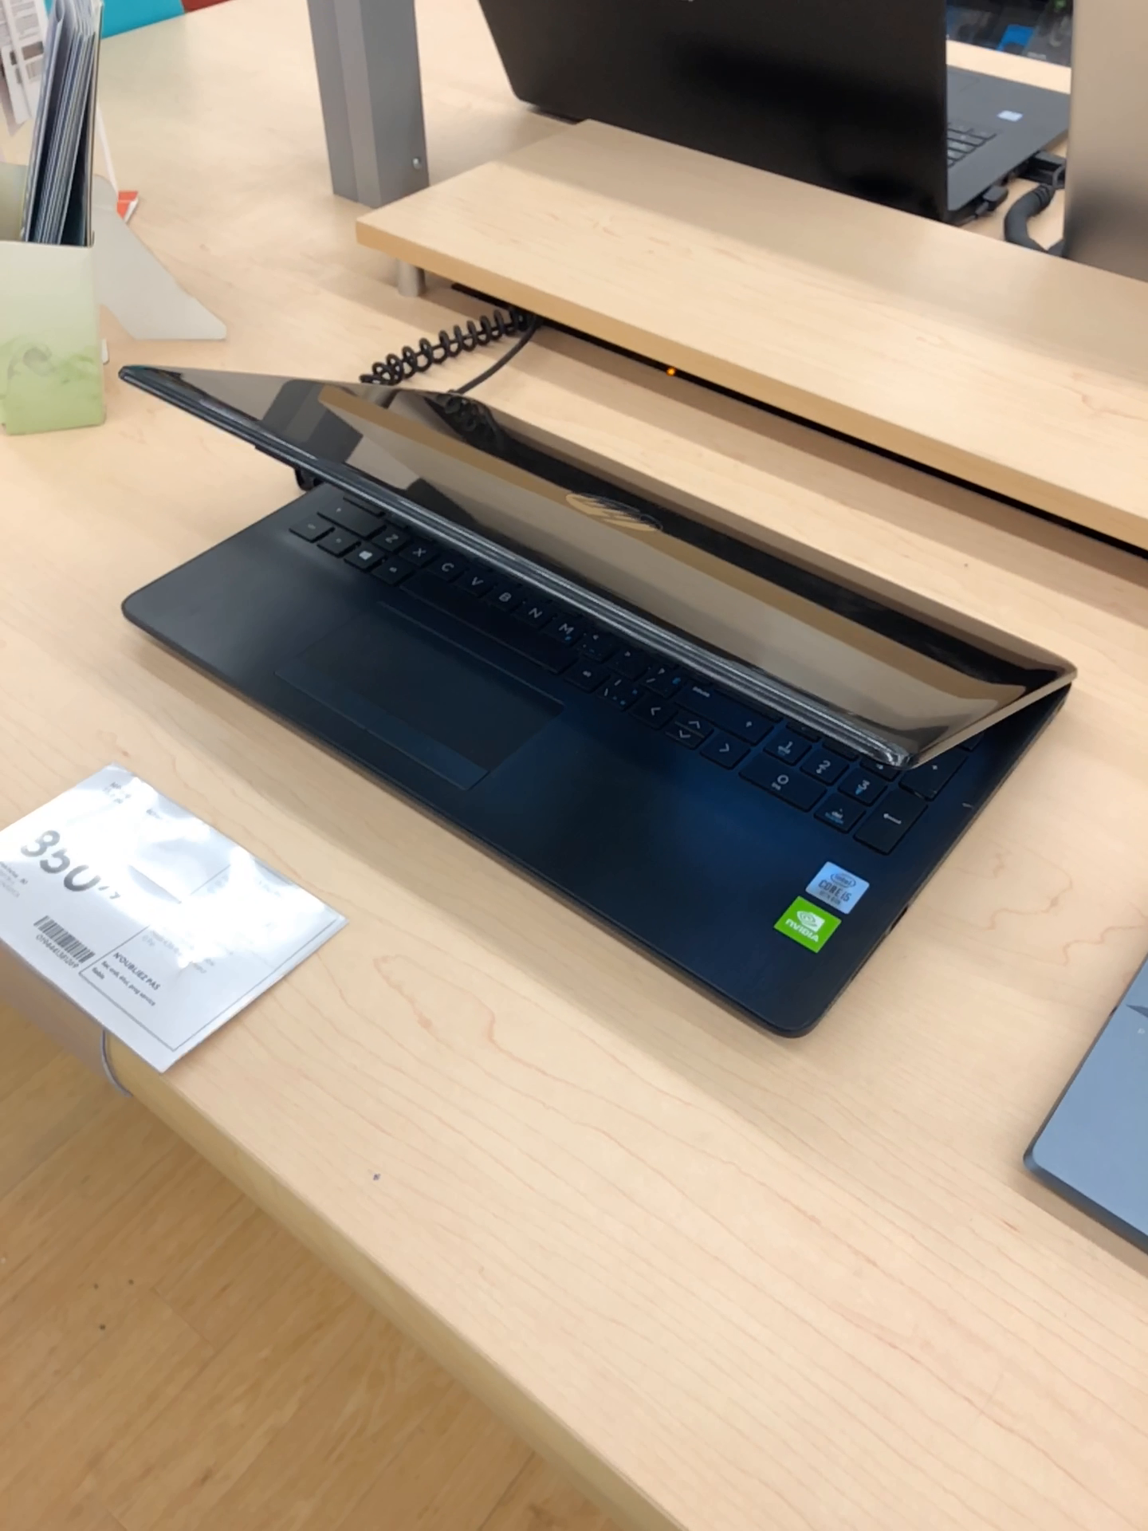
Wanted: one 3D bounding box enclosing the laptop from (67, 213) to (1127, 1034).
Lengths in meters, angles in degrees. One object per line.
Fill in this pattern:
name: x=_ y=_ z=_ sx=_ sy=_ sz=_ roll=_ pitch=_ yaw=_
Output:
laptop: x=0.002 y=-0.099 z=0.553 sx=0.372 sy=0.115 sz=0.239 roll=30 pitch=52 yaw=27
